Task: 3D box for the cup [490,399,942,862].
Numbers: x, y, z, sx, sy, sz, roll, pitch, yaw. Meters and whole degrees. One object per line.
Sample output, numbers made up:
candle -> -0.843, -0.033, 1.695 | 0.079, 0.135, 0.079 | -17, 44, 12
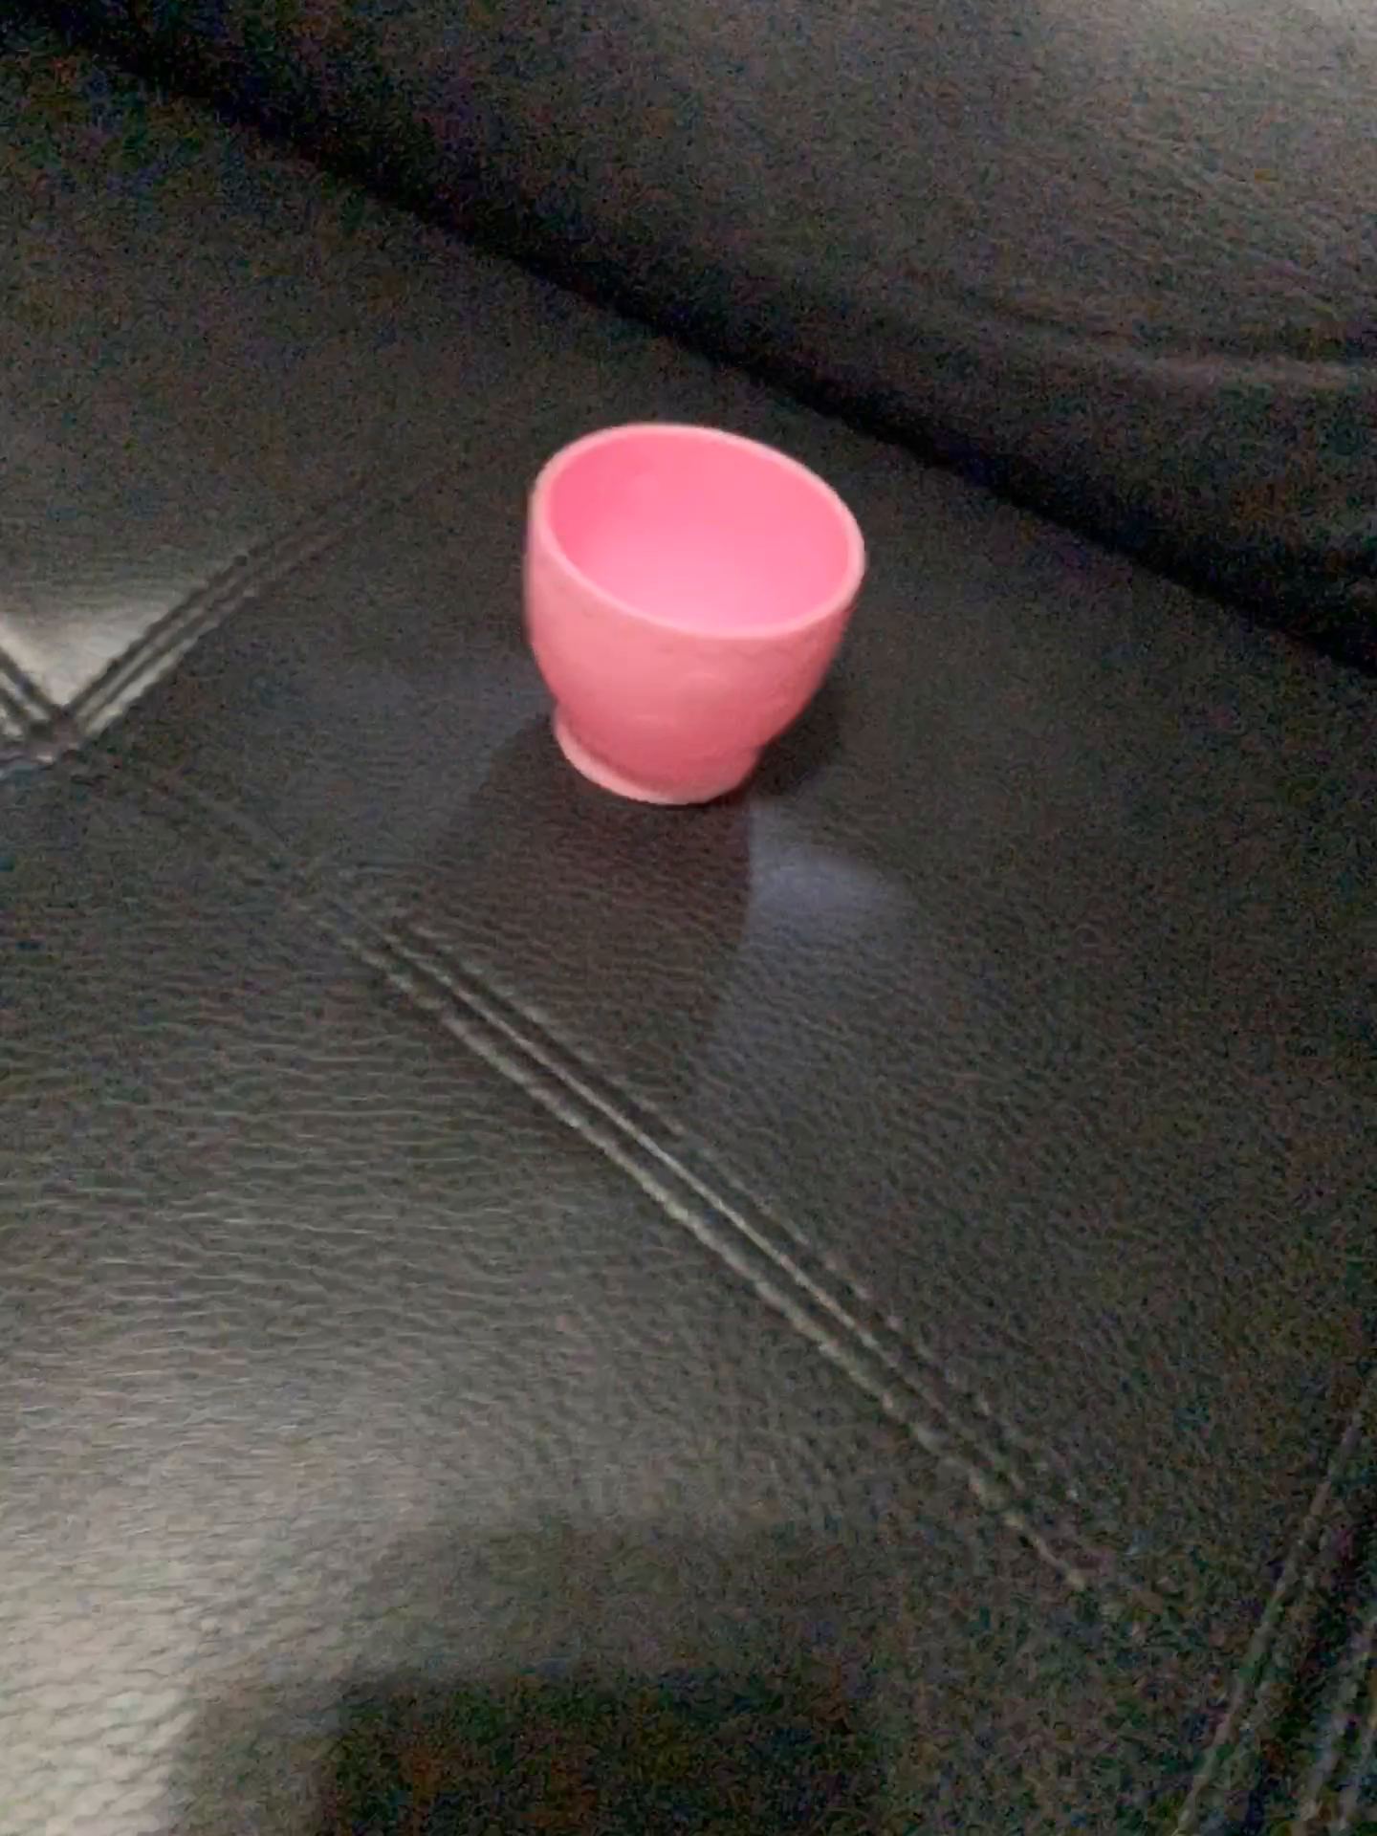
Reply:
cup -> 0.000, -0.057, 0.270 | 0.060, 0.045, 0.078 | -6, 49, -16
